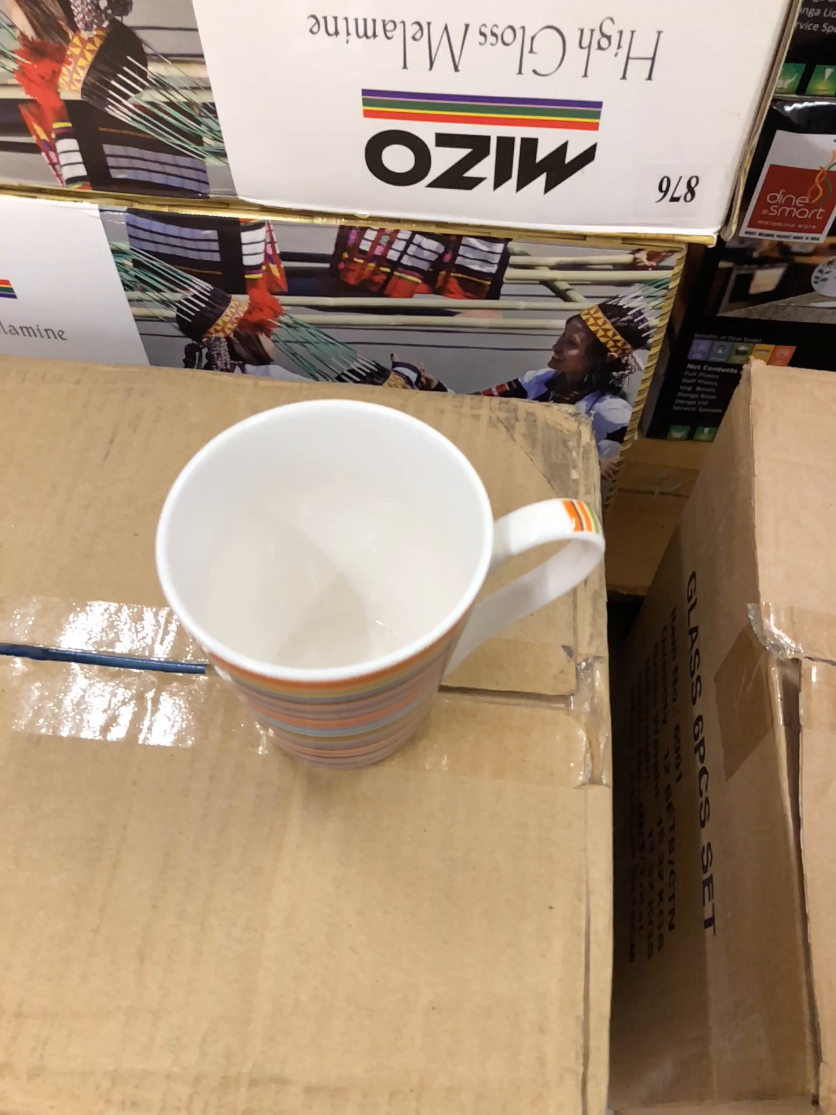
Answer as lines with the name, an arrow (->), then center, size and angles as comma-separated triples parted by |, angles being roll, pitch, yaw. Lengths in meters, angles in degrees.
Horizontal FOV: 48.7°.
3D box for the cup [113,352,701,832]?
cup -> -0.007, 0.012, 0.264 | 0.130, 0.090, 0.080 | -10, 58, -7
